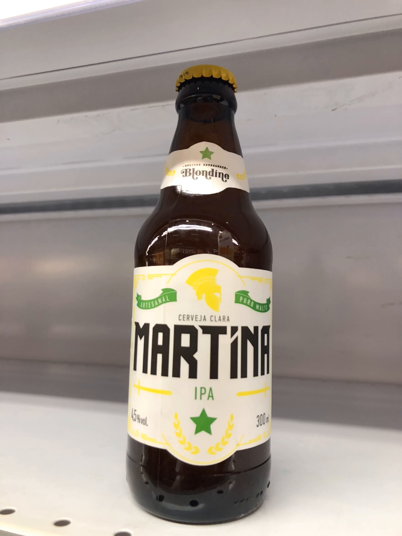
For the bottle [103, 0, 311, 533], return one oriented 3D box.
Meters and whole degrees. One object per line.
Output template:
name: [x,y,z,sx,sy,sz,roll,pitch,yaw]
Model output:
bottle: [0.001,-0.005,0.189,0.070,0.190,0.060,1,-5,-6]
